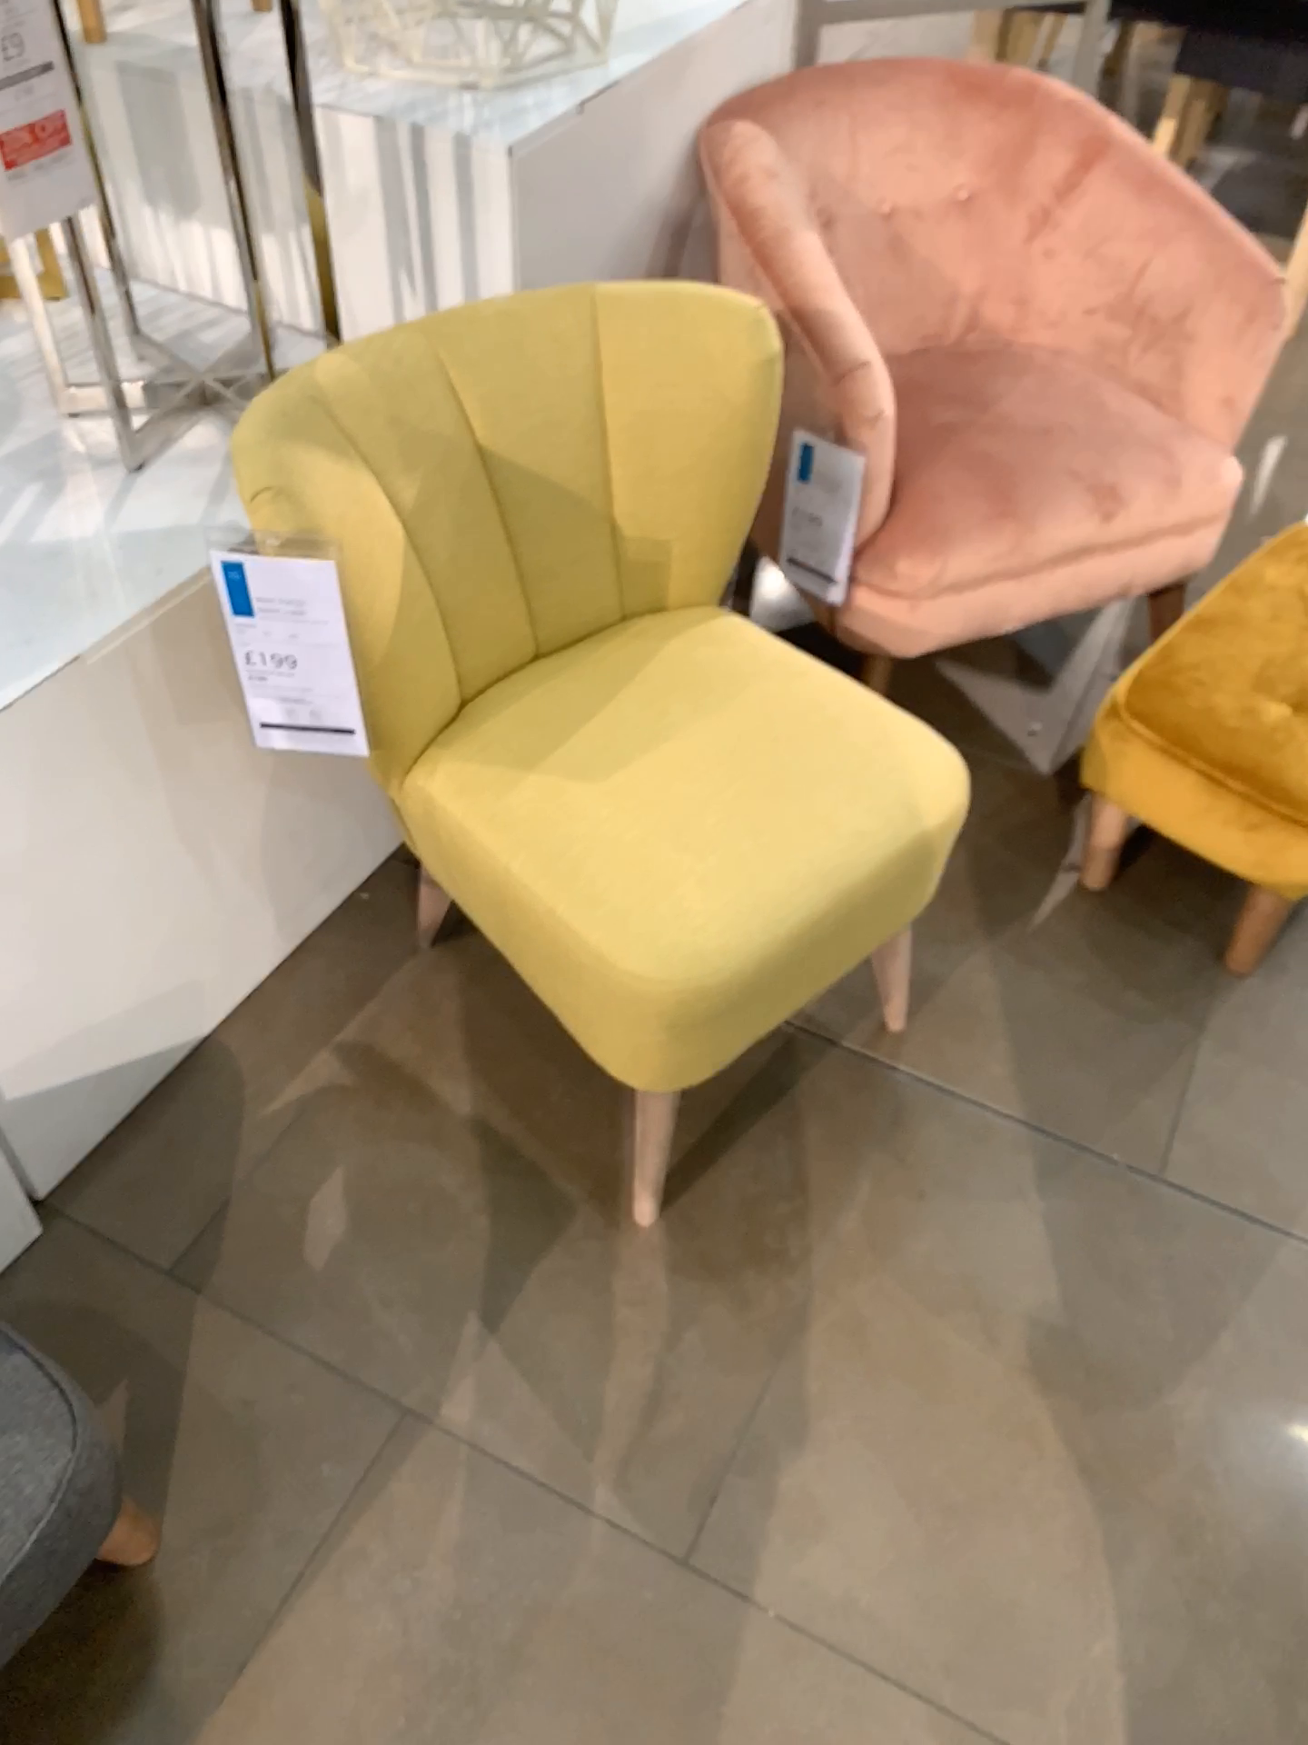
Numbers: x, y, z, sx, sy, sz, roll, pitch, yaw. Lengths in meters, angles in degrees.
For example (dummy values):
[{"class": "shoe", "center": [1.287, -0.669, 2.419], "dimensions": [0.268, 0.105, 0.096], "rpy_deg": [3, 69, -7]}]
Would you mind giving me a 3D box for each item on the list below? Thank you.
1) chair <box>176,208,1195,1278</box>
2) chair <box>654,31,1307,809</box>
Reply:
[{"class": "chair", "center": [0.014, -0.150, 1.360], "dimensions": [0.609, 0.696, 0.589], "rpy_deg": [-31, 54, -28]}, {"class": "chair", "center": [0.417, -0.646, 1.911], "dimensions": [0.618, 0.765, 0.590], "rpy_deg": [-20, 50, -20]}]
